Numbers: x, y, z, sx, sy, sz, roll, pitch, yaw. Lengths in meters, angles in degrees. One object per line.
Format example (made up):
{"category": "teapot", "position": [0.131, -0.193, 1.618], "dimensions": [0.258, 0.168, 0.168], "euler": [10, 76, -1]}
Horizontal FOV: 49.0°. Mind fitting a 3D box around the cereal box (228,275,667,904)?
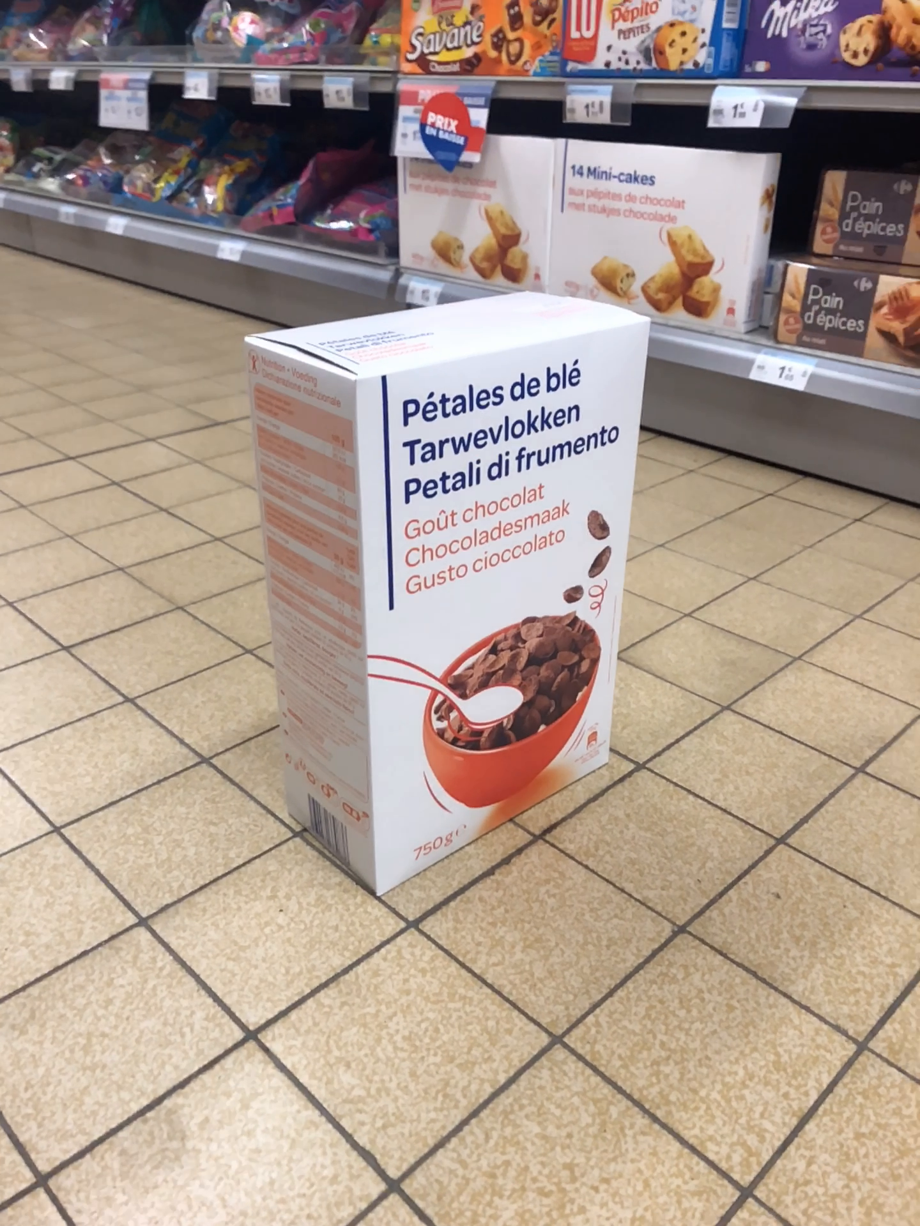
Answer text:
{"category": "cereal box", "position": [-0.003, -0.022, 0.563], "dimensions": [0.201, 0.288, 0.100], "euler": [-22, 35, -37]}
